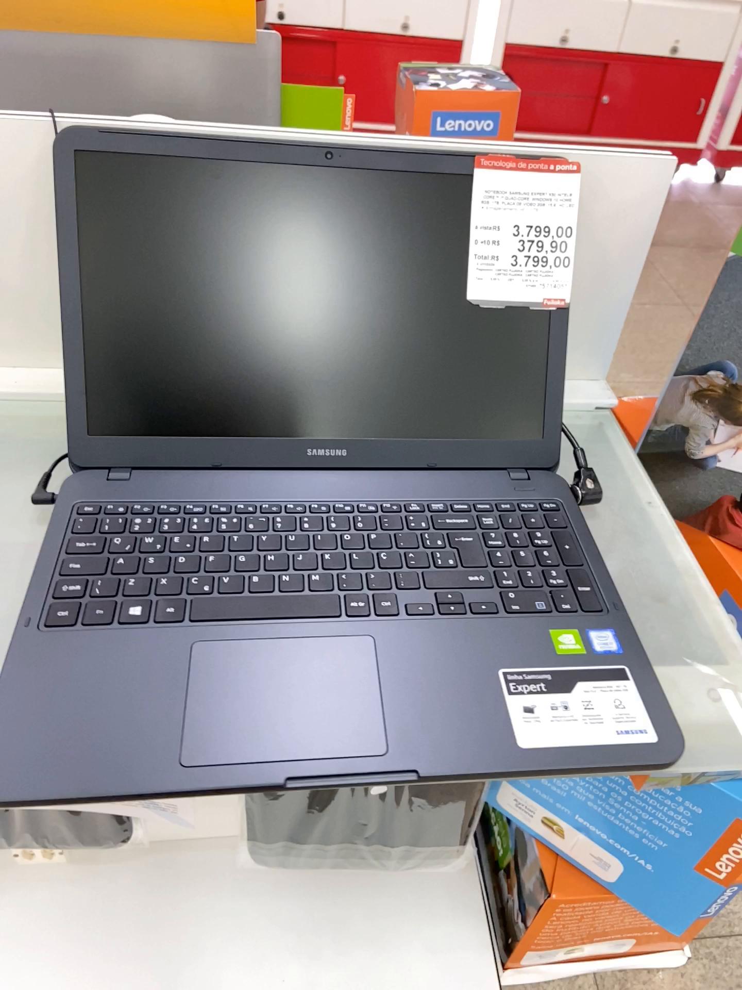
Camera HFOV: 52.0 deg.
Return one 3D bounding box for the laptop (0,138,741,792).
[{"bbox_3d":[-0.019,-0.051,0.470,0.371,0.192,0.371,0,41,-7],"label":"laptop"}]
